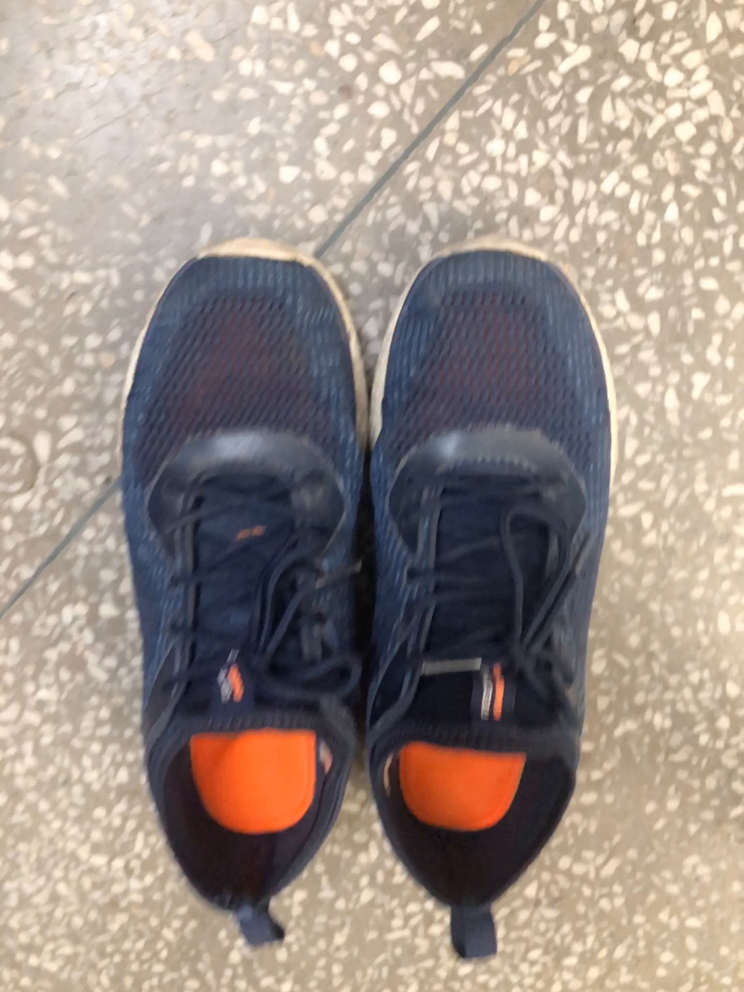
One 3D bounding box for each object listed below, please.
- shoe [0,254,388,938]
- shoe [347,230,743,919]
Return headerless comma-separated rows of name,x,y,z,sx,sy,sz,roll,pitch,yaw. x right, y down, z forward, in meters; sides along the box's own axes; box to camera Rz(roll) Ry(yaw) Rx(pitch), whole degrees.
shoe,-0.054,0.036,0.333,0.113,0.100,0.250,-2,106,1
shoe,0.055,0.028,0.330,0.123,0.100,0.250,0,106,1
